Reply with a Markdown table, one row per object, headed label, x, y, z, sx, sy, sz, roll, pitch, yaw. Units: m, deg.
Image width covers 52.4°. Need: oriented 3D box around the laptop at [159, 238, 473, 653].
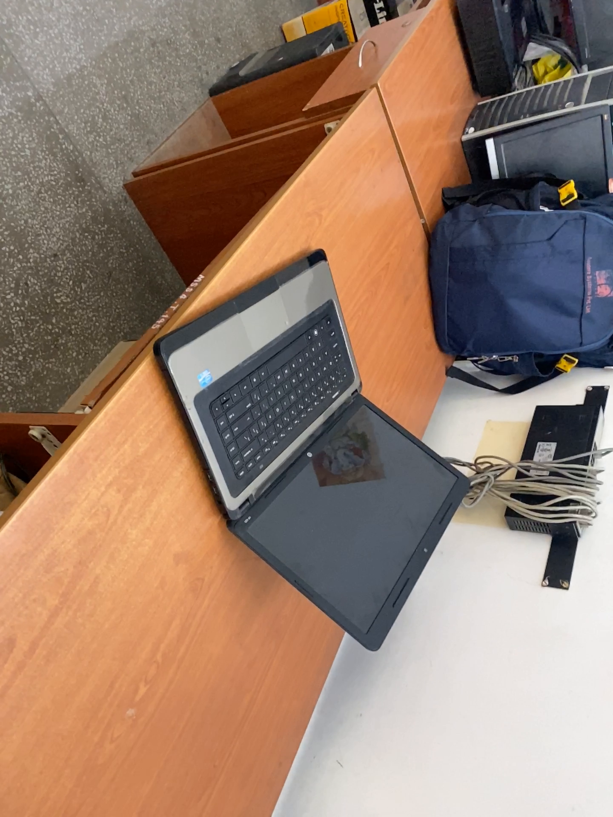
| label | x | y | z | sx | sy | sz | roll | pitch | yaw |
| --- | --- | --- | --- | --- | --- | --- | --- | --- | --- |
| laptop | 0.058 | 0.031 | 0.884 | 0.384 | 0.158 | 0.426 | -43 | 123 | -46 |
